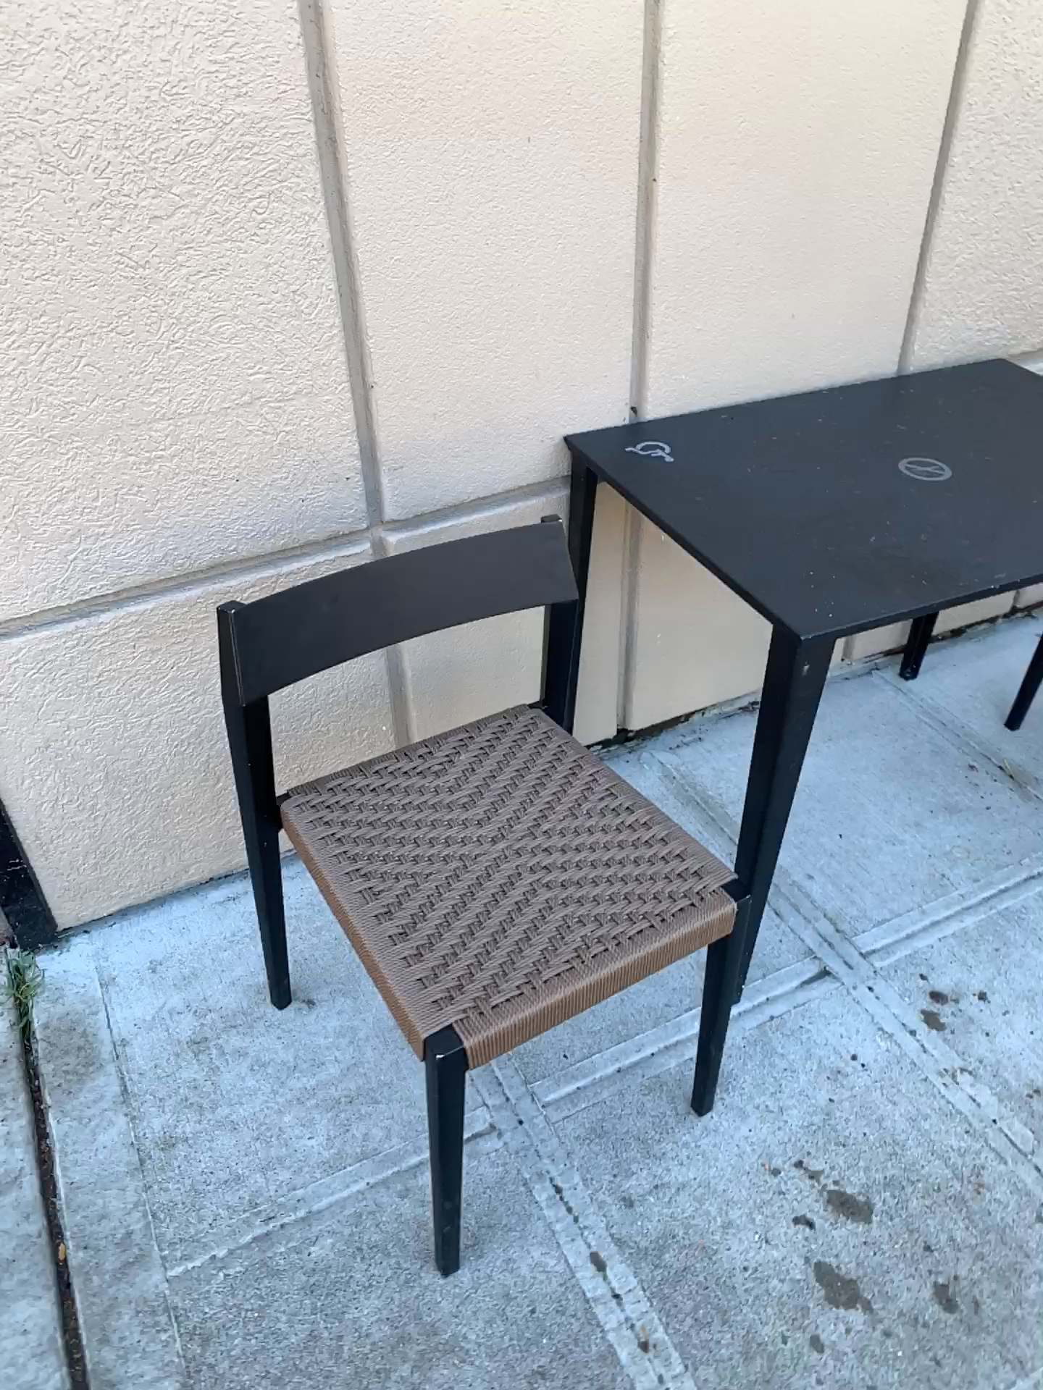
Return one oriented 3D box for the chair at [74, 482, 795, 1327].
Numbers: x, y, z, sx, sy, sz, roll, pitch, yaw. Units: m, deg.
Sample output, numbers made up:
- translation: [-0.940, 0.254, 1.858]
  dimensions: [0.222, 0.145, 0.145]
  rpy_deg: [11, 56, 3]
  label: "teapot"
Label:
- translation: [-0.108, 0.219, 1.304]
  dimensions: [0.550, 0.666, 0.553]
  rpy_deg: [-22, 42, -24]
  label: "chair"
